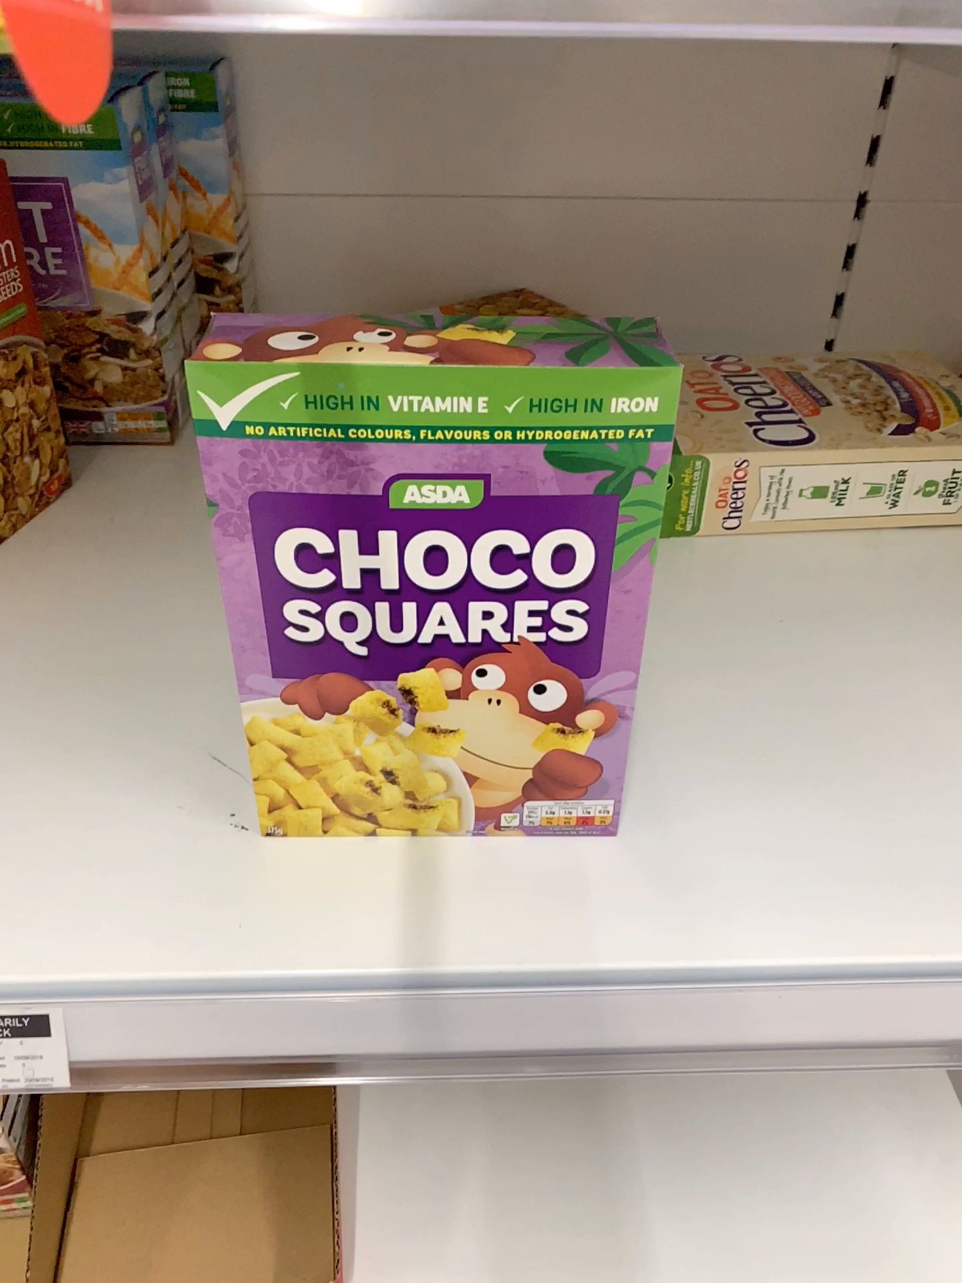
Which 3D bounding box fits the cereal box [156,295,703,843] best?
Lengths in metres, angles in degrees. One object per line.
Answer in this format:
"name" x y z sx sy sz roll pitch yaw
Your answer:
"cereal box" -0.020 -0.018 0.441 0.190 0.248 0.061 1 37 -1
